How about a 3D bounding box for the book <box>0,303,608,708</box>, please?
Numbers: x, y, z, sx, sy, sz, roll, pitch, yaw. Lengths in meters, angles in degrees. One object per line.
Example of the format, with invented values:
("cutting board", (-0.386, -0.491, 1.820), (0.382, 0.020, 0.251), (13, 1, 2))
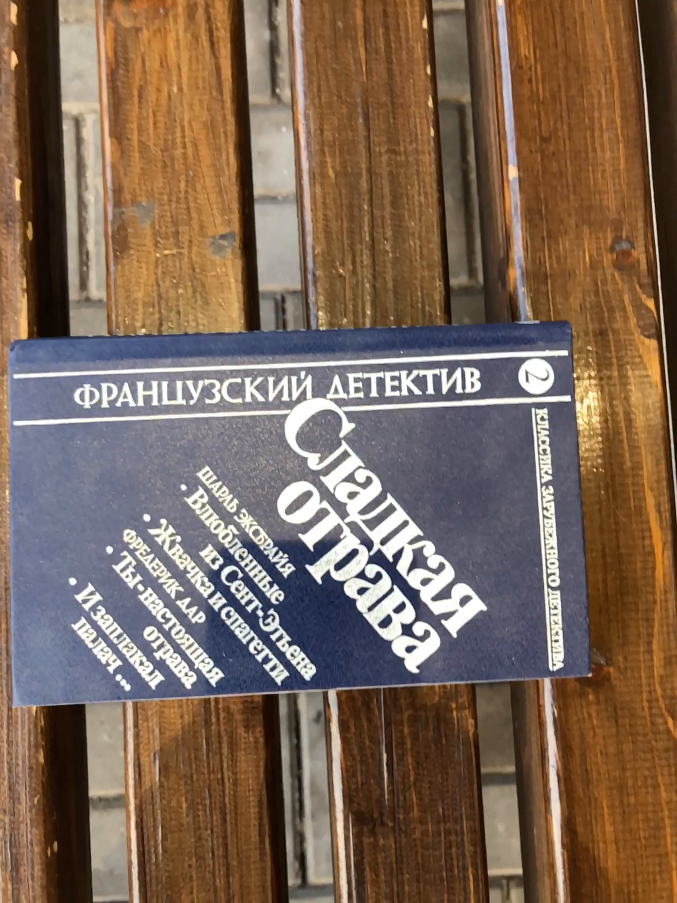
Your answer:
("book", (-0.014, 0.018, 0.284), (0.211, 0.030, 0.133), (-3, 87, -2))
